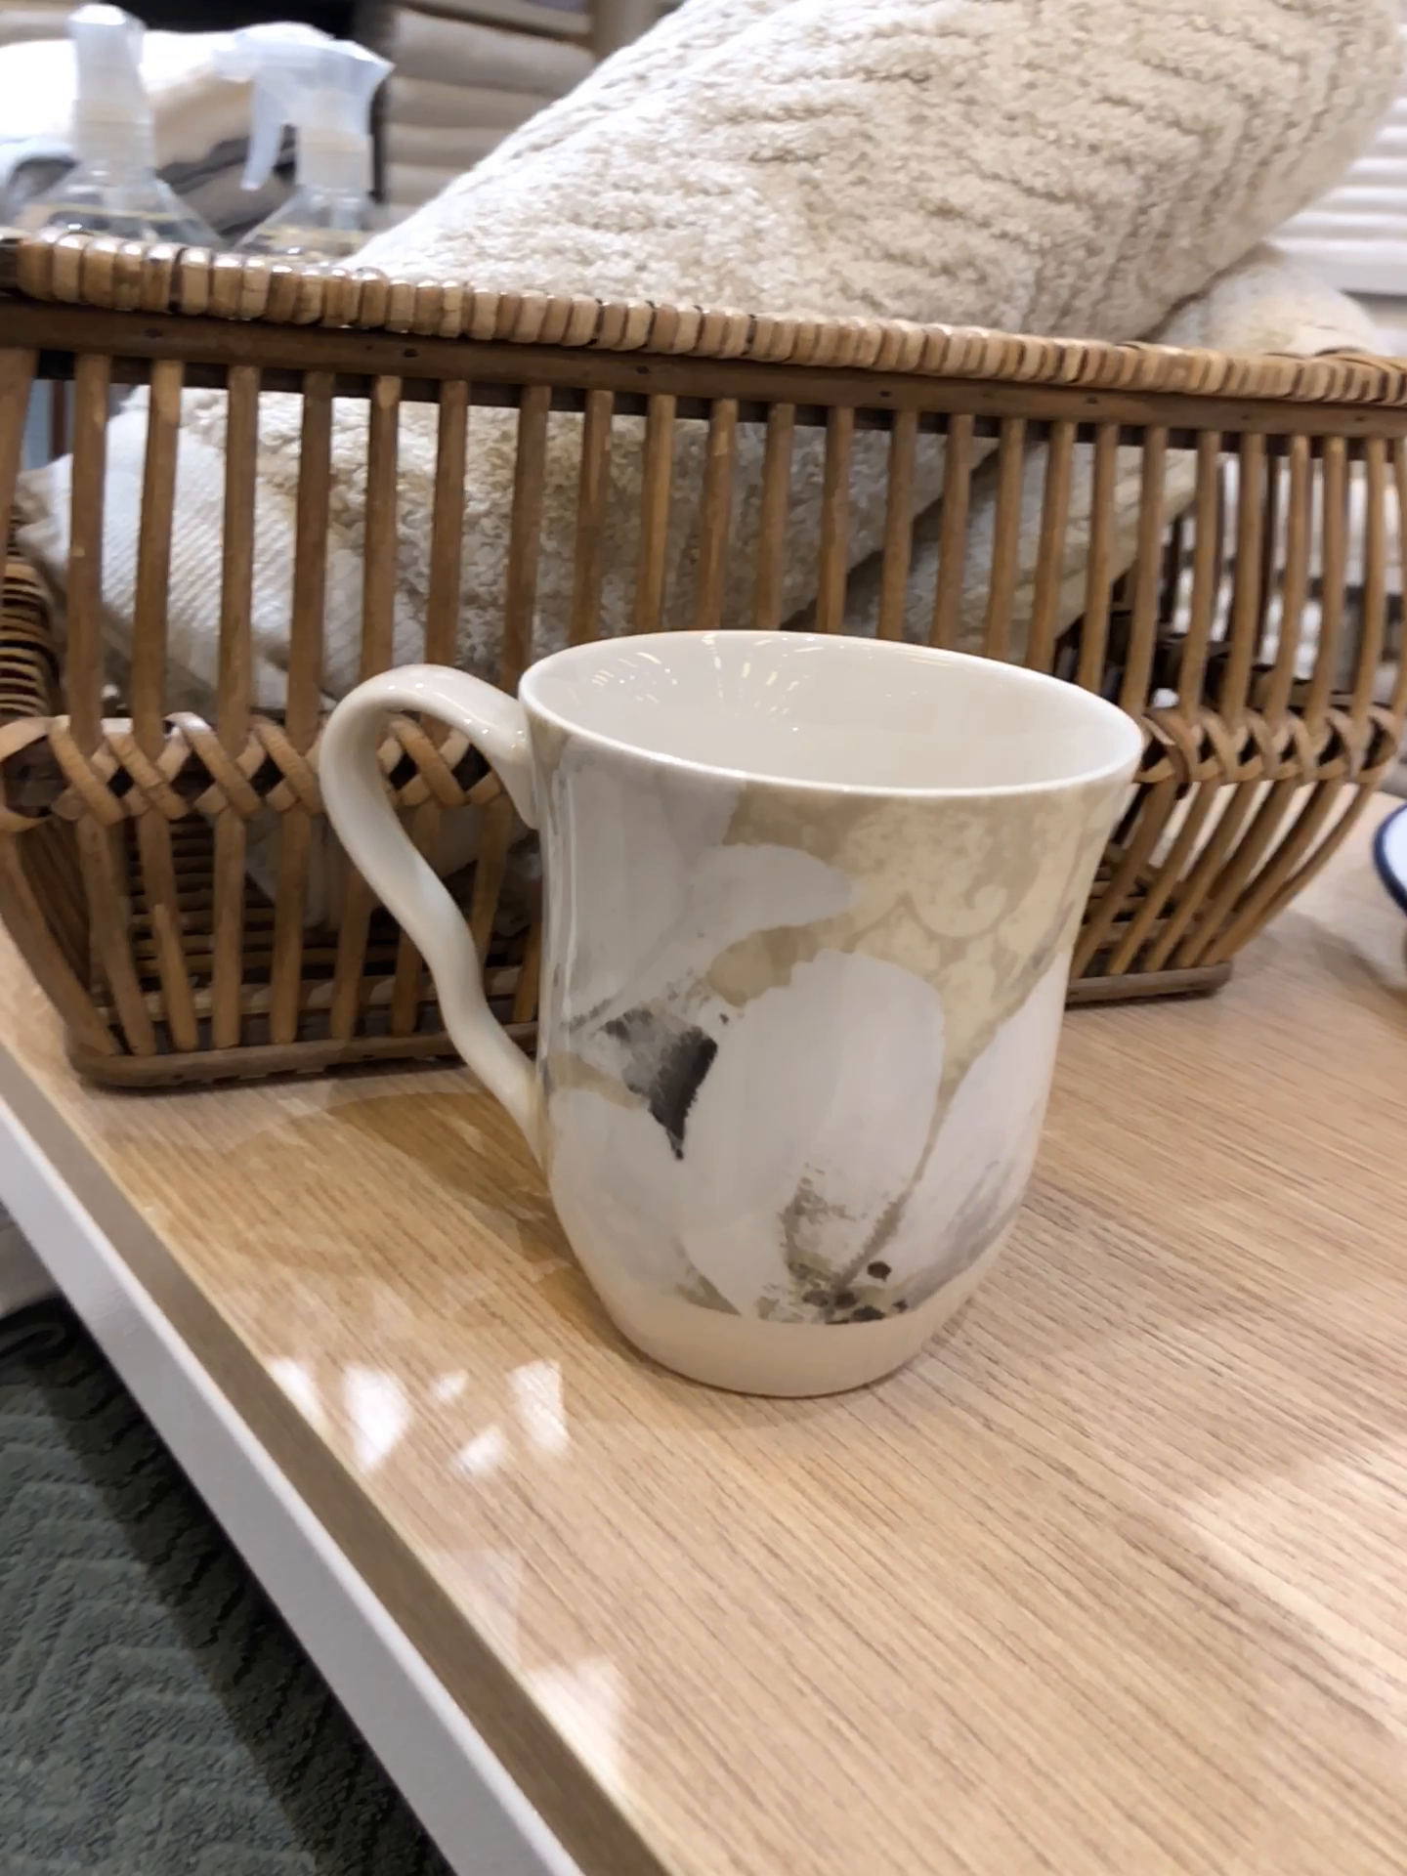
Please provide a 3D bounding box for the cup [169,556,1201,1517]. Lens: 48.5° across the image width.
[{"bbox_3d":[-0.002,0.003,0.254,0.130,0.099,0.091,14,24,21],"label":"cup"}]
